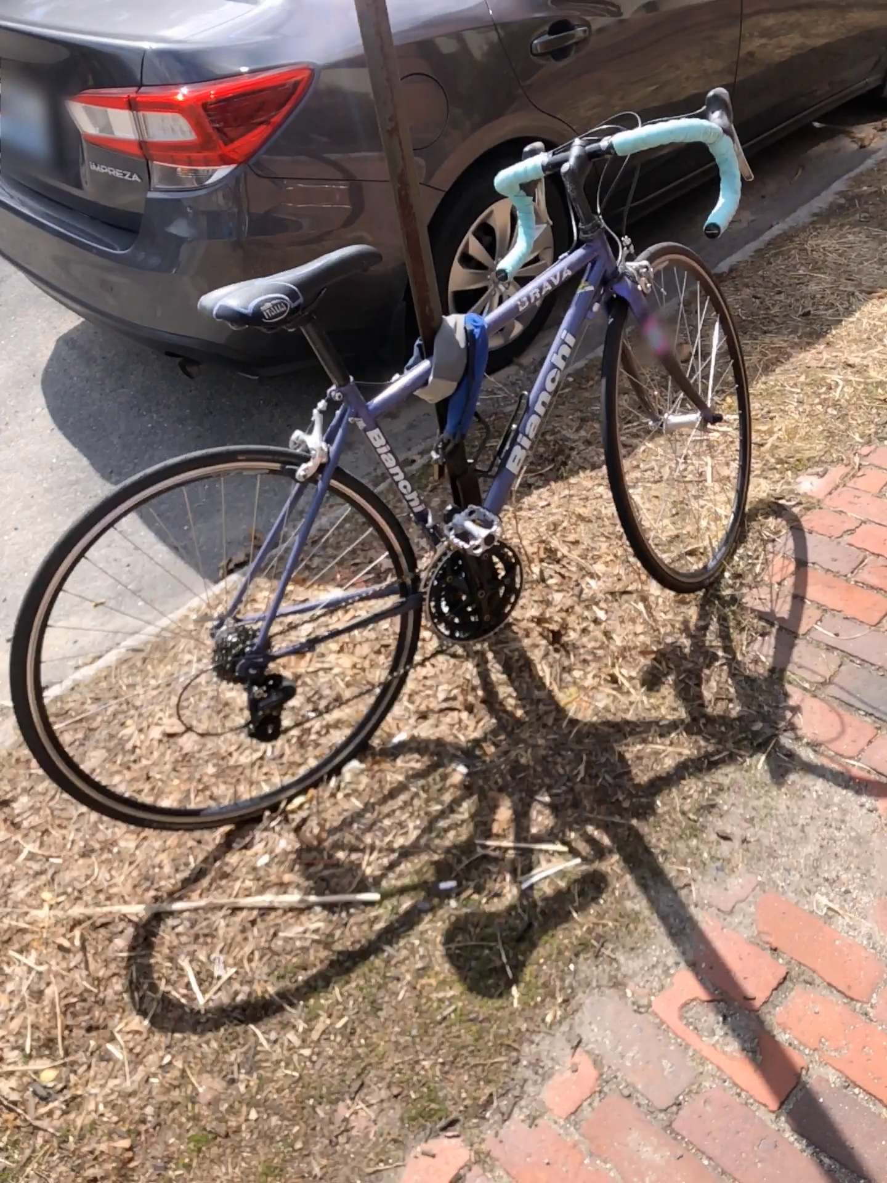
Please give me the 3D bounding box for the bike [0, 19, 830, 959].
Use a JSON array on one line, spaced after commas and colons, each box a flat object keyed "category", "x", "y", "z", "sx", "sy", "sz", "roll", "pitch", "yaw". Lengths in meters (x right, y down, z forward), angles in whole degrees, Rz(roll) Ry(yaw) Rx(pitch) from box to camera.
[{"category": "bike", "x": -0.043, "y": -0.255, "z": 1.632, "sx": 1.451, "sy": 0.735, "sz": 0.461, "roll": -34, "pitch": 43, "yaw": -19}]
